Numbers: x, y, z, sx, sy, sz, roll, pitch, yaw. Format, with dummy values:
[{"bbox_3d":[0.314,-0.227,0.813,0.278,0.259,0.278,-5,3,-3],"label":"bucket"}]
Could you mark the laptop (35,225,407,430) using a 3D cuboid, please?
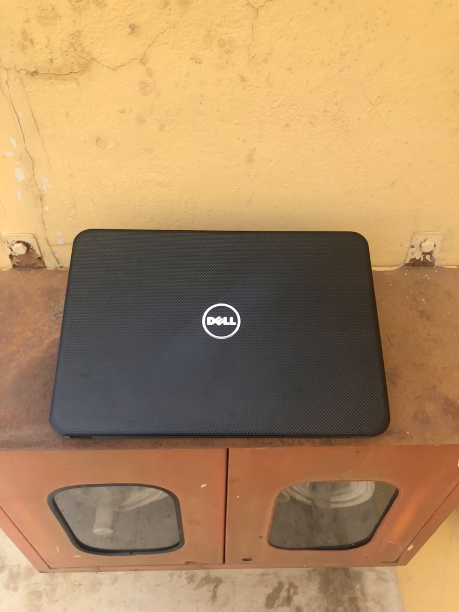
[{"bbox_3d":[-0.006,0.022,0.564,0.352,0.098,0.184,0,57,0],"label":"laptop"}]
